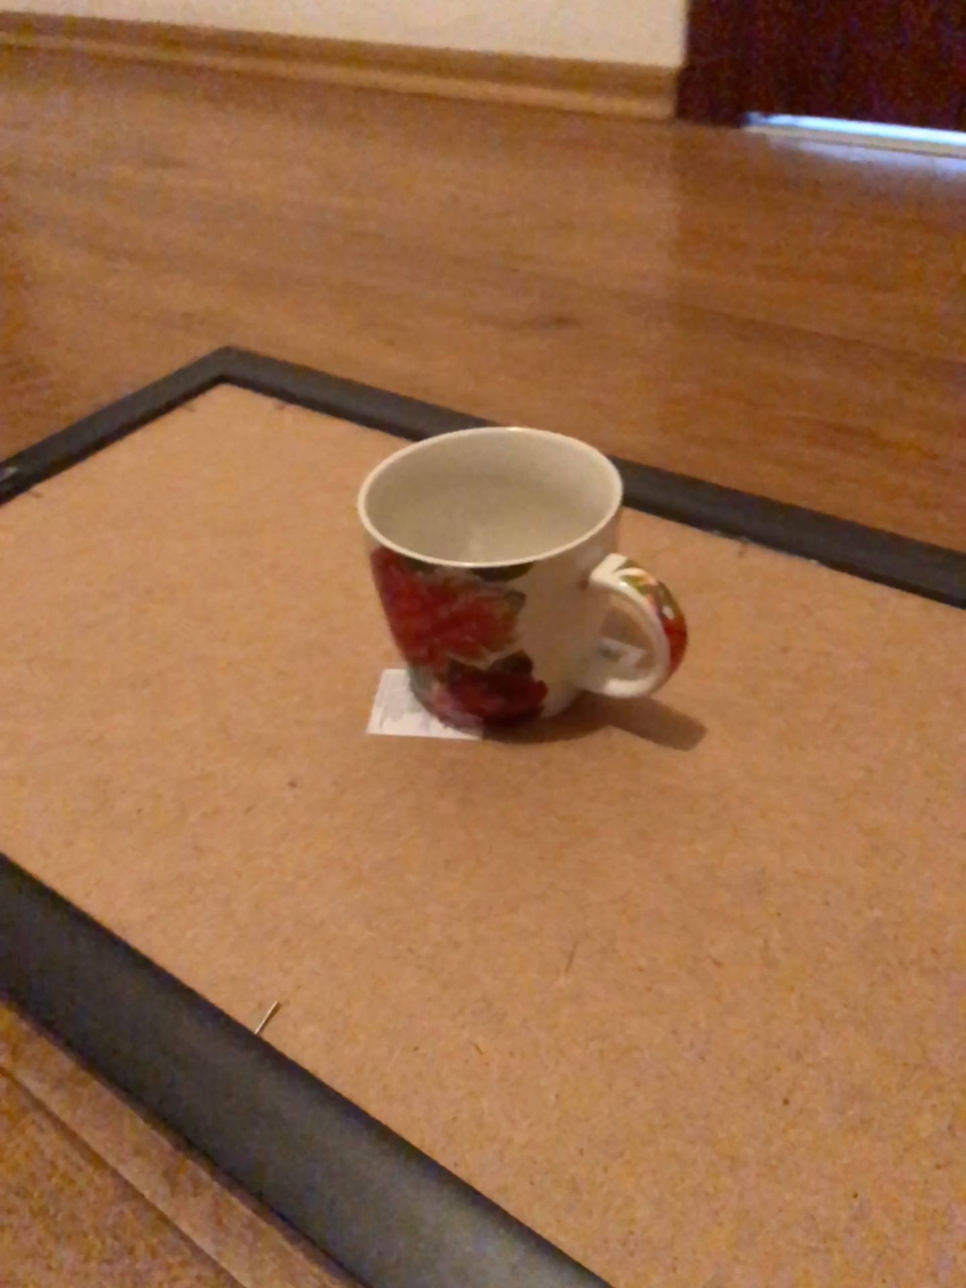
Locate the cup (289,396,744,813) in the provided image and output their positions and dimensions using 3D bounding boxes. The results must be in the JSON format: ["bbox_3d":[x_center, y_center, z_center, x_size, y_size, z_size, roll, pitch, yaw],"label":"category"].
[{"bbox_3d":[0.014,-0.021,0.389,0.121,0.079,0.098,22,45,29],"label":"cup"}]
